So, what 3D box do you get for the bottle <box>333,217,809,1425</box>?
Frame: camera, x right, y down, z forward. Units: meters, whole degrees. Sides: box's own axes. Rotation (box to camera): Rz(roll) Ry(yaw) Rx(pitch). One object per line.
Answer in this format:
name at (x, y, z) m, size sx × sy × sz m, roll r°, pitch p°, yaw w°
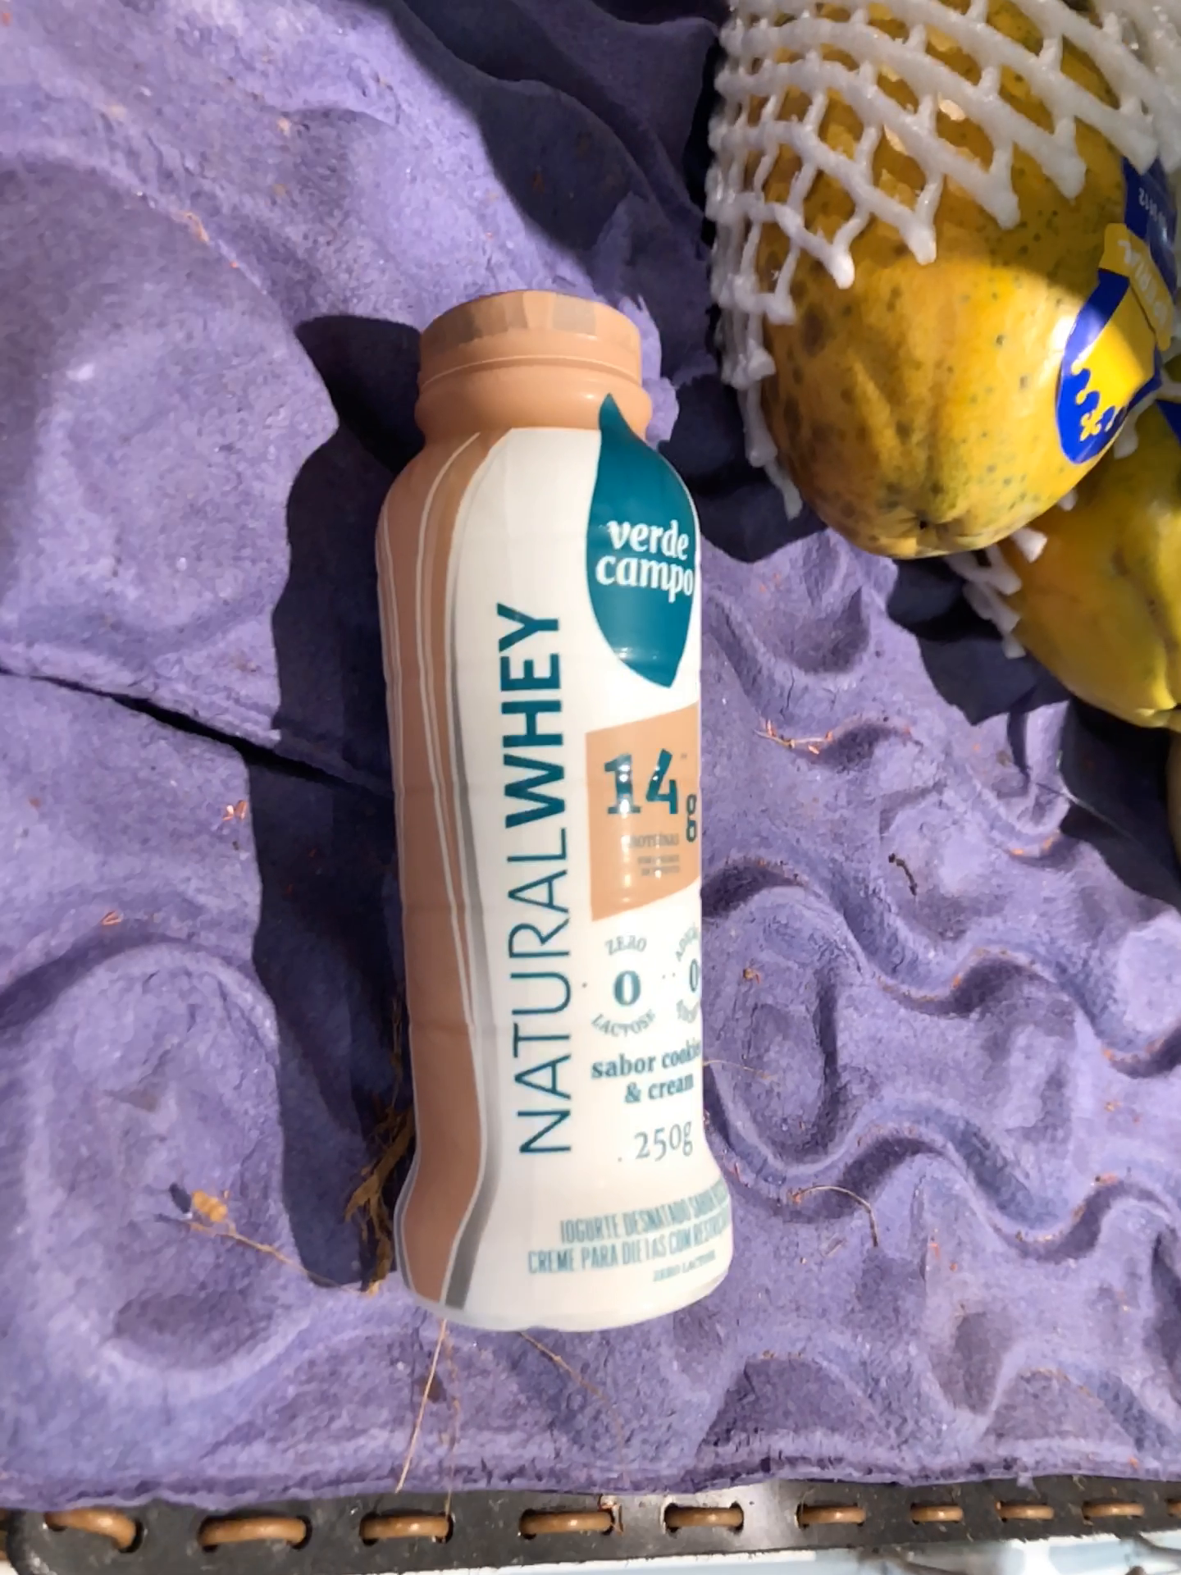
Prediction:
bottle at (-0.002, 0.004, 0.210) m, size 0.060 × 0.040 × 0.160 m, roll 1°, pitch 86°, yaw -50°
